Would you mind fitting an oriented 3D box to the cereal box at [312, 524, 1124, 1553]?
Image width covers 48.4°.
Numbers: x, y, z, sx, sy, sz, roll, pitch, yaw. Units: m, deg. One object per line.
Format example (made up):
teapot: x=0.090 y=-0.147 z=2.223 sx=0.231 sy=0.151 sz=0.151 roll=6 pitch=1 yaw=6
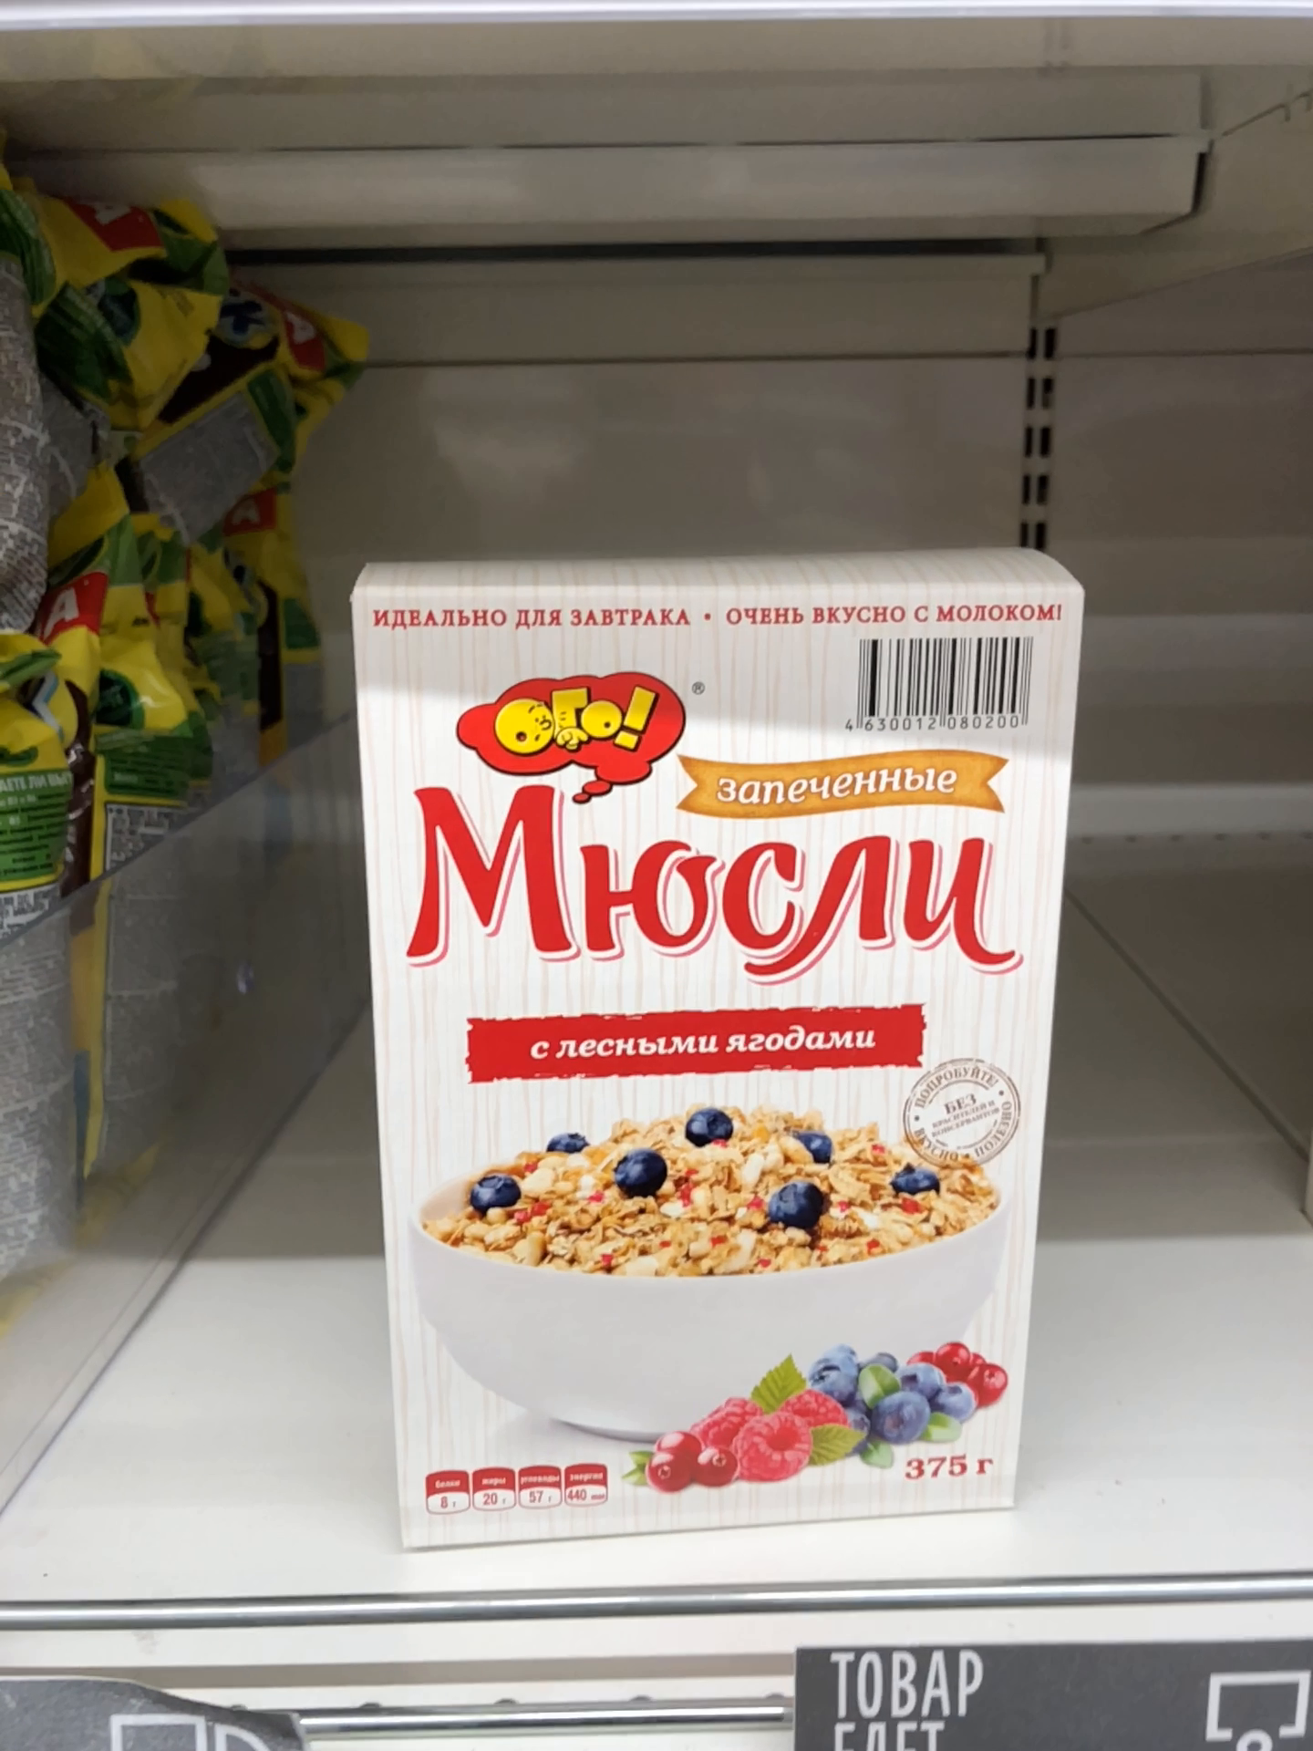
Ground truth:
cereal box: x=0.011 y=0.032 z=0.306 sx=0.140 sy=0.199 sz=0.060 roll=-2 pitch=16 yaw=-4
